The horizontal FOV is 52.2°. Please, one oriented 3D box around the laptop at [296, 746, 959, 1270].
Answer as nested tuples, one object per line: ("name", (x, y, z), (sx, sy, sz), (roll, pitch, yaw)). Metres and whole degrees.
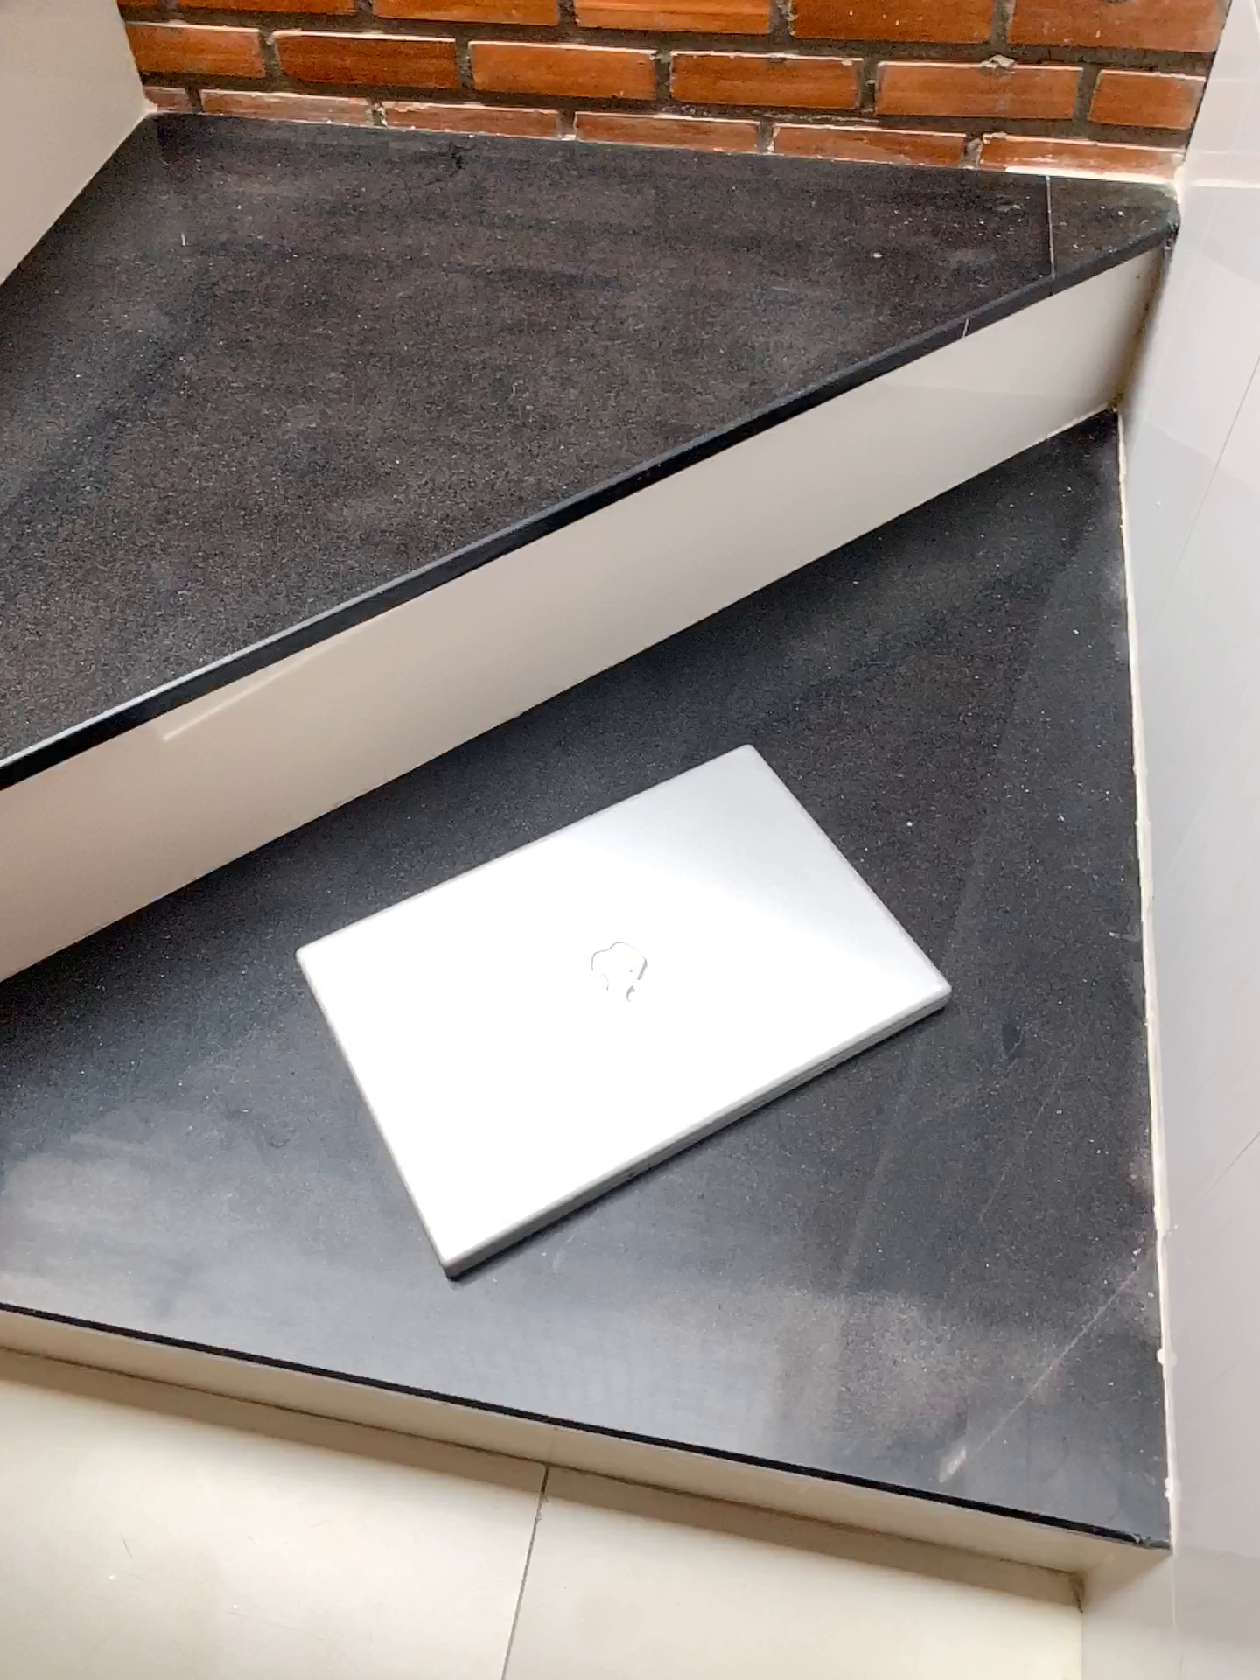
("laptop", (-0.004, 0.110, 1.043), (0.440, 0.013, 0.292), (-25, 59, -16))
